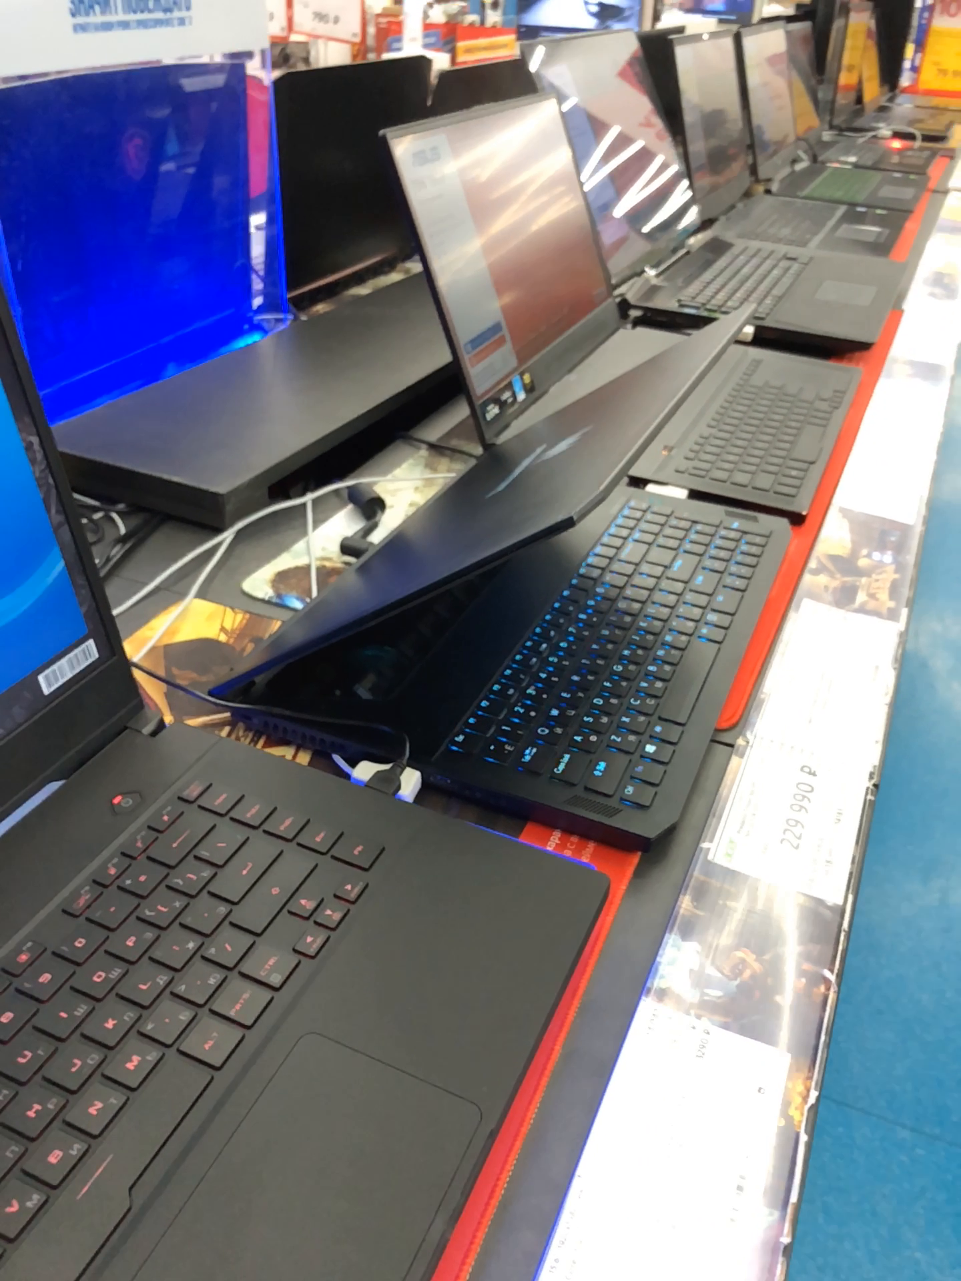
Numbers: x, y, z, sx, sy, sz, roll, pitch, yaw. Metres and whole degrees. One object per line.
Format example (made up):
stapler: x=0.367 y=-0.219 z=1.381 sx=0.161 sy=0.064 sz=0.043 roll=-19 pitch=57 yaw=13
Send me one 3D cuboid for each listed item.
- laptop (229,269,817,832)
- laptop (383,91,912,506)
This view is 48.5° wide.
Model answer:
laptop: x=0.053 y=-0.092 z=0.655 sx=0.226 sy=0.152 sz=0.372 roll=15 pitch=35 yaw=17
laptop: x=0.161 y=-0.339 z=0.973 sx=0.363 sy=0.235 sz=0.373 roll=15 pitch=34 yaw=17
